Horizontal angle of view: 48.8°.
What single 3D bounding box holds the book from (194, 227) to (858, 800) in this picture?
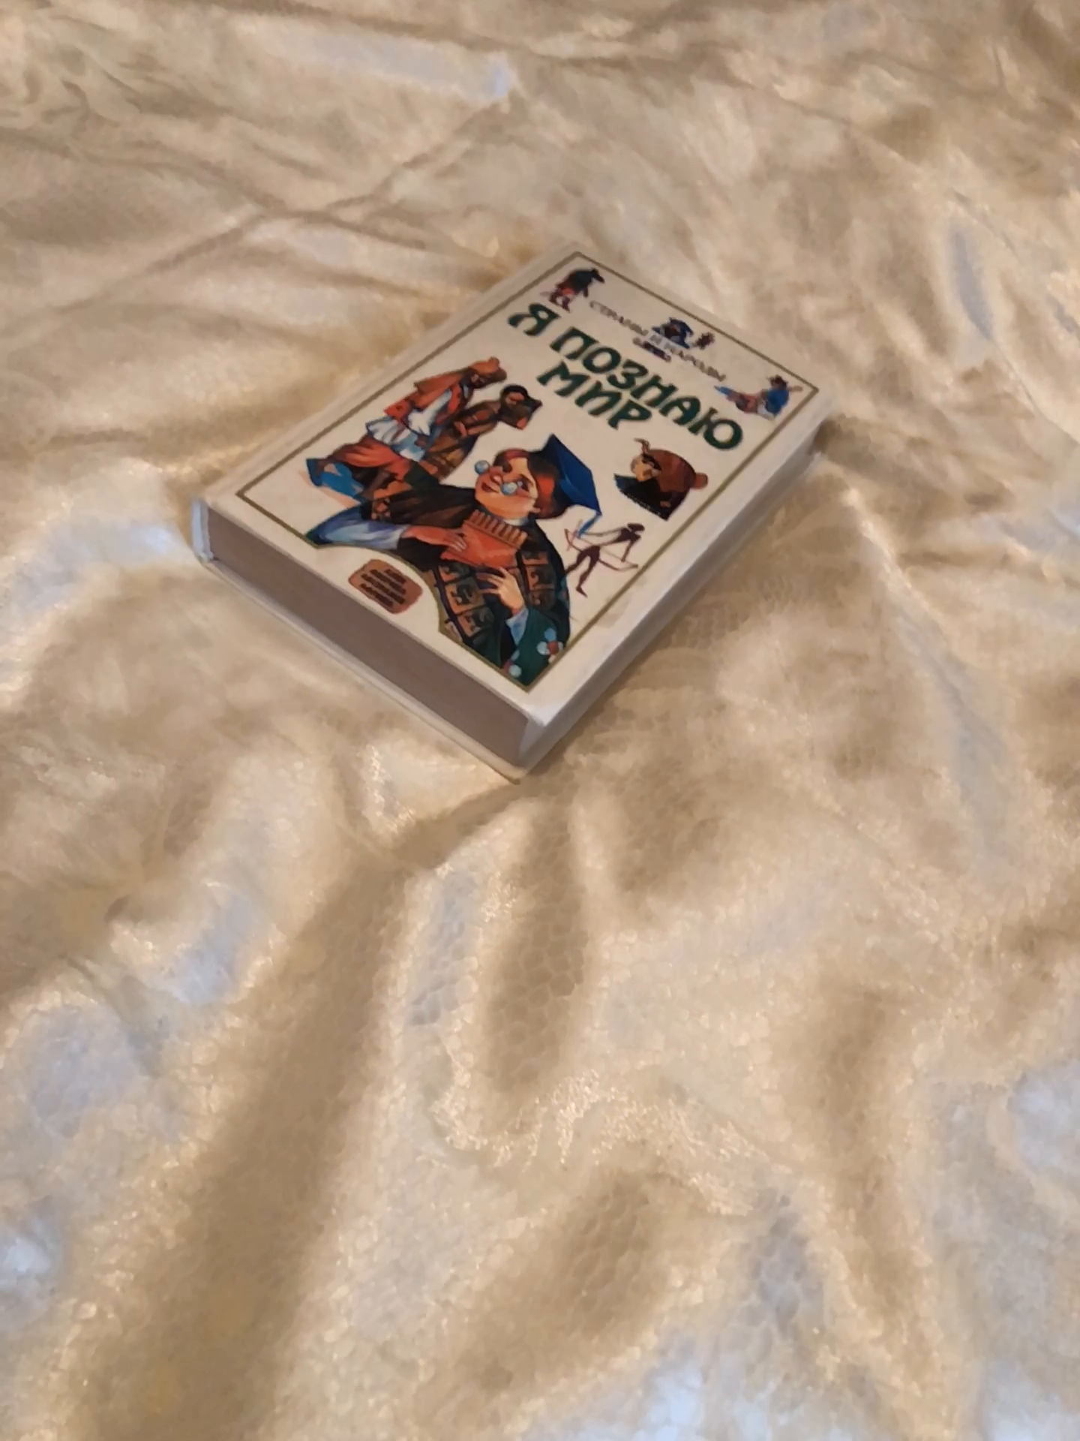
[{"bbox_3d":[0.004,-0.084,0.409,0.134,0.037,0.198,34,55,12],"label":"book"}]
